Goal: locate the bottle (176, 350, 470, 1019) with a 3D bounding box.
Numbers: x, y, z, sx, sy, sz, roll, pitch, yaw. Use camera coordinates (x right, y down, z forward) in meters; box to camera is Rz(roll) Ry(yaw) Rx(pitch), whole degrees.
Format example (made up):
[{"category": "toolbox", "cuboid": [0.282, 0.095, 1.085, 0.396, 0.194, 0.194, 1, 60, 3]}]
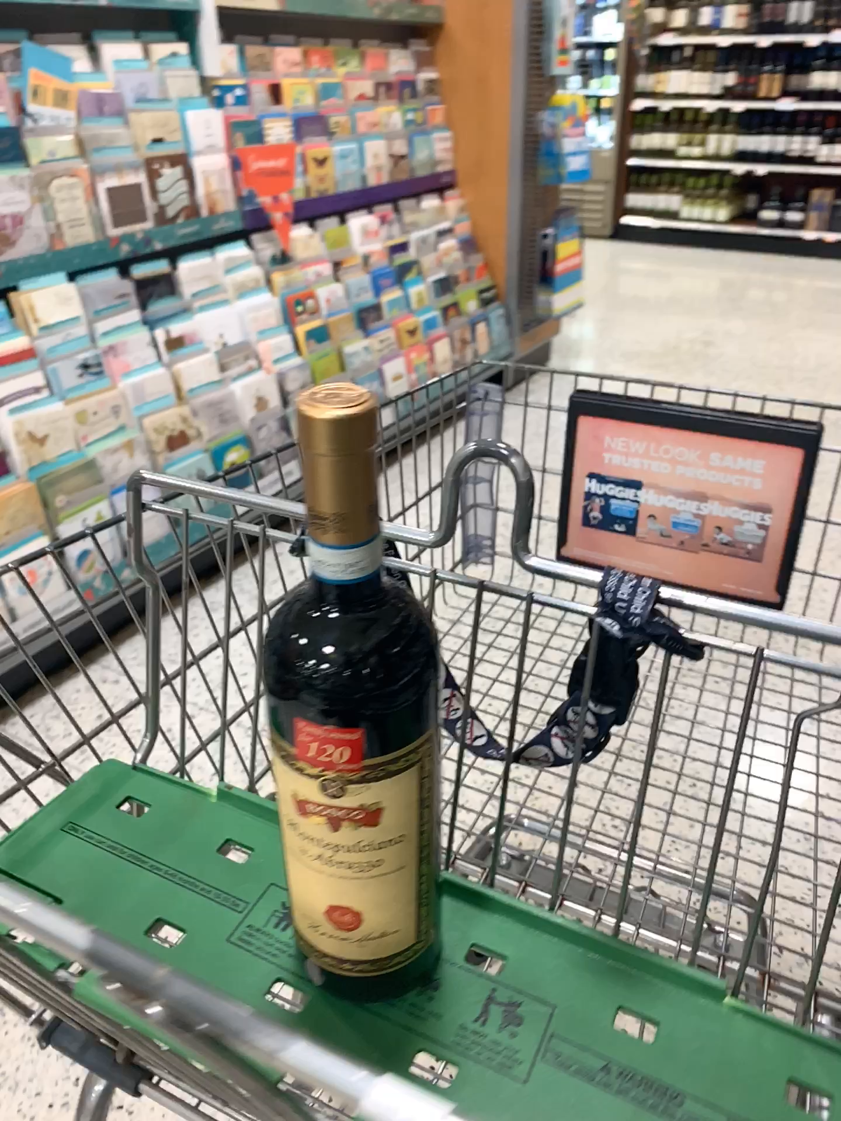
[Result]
[{"category": "bottle", "cuboid": [-0.028, 0.061, 0.370, 0.080, 0.277, 0.081, -1, 28, 0]}]
